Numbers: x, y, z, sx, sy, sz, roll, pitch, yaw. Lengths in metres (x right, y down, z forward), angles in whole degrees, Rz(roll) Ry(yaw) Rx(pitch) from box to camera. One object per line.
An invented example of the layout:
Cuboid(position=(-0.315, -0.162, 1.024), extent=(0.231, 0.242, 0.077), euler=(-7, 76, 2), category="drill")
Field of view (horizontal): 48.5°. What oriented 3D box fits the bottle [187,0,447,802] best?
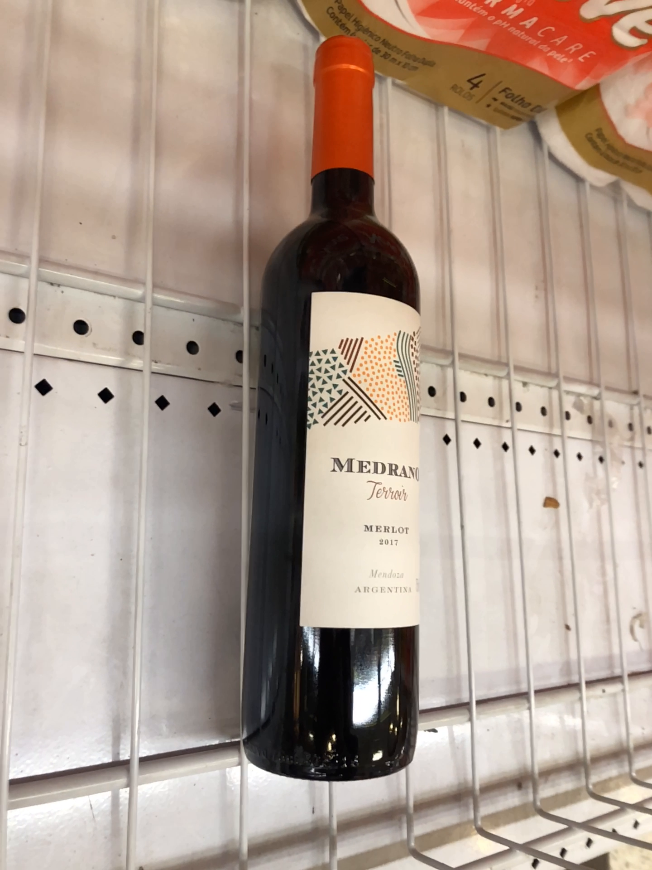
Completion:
Cuboid(position=(-0.003, -0.029, 0.325), extent=(0.080, 0.070, 0.330), euler=(8, 77, -36), category="bottle")
